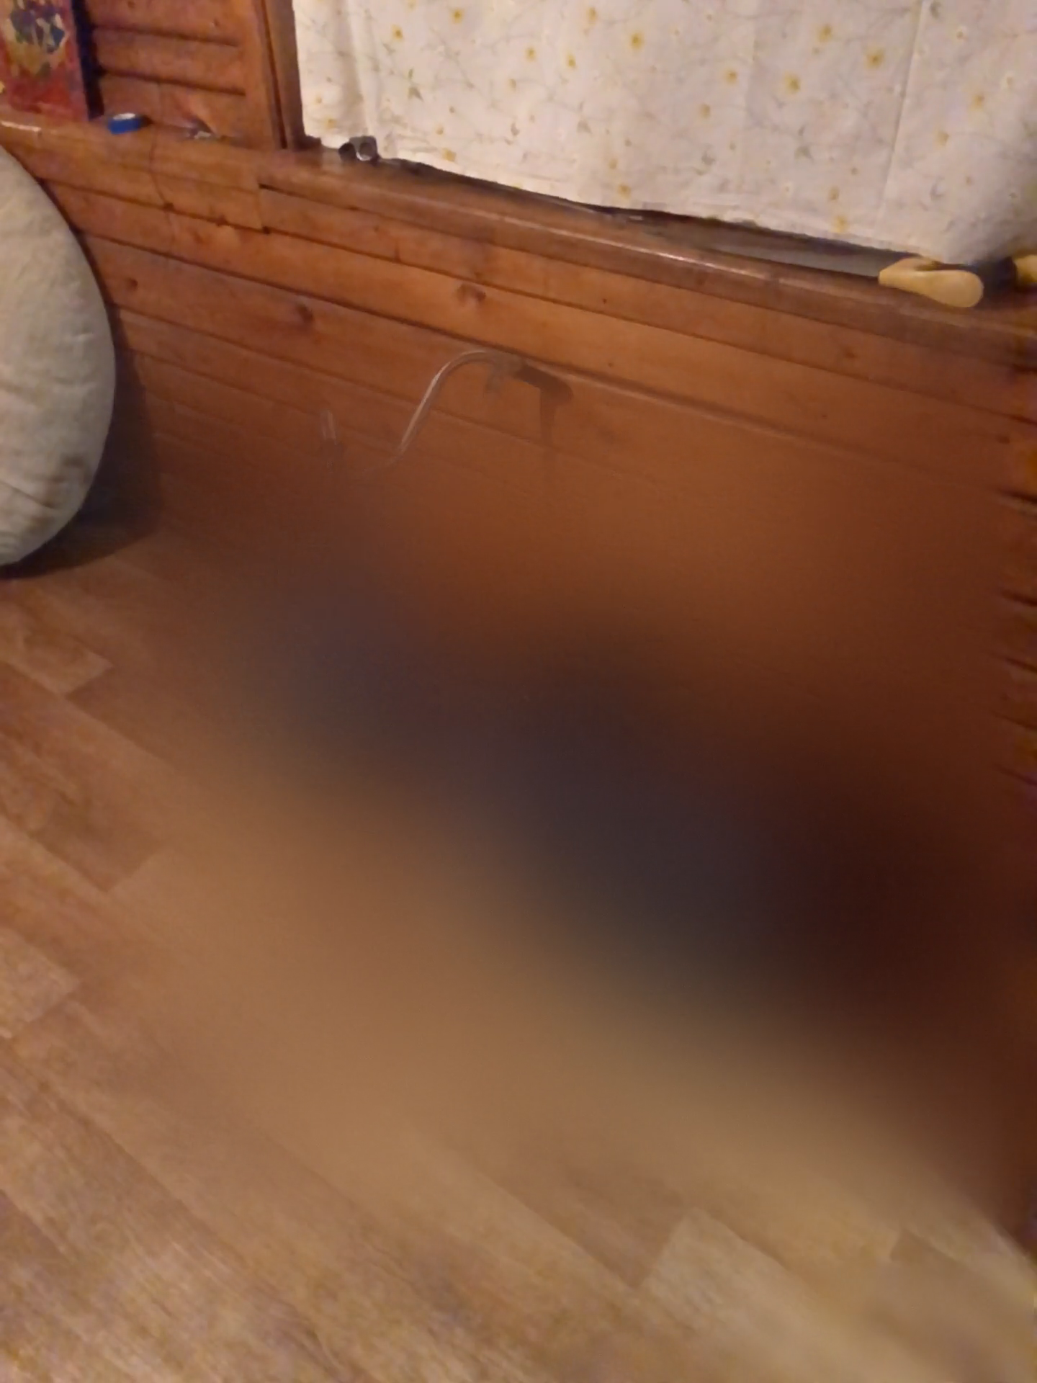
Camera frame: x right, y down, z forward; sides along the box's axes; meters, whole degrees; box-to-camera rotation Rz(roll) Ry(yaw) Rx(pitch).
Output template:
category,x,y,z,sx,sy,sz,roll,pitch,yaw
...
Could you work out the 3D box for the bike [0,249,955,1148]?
category,x,y,z,sx,sy,sz,roll,pitch,yaw
bike,-0.062,-0.055,1.559,0.958,0.697,0.595,28,49,29
